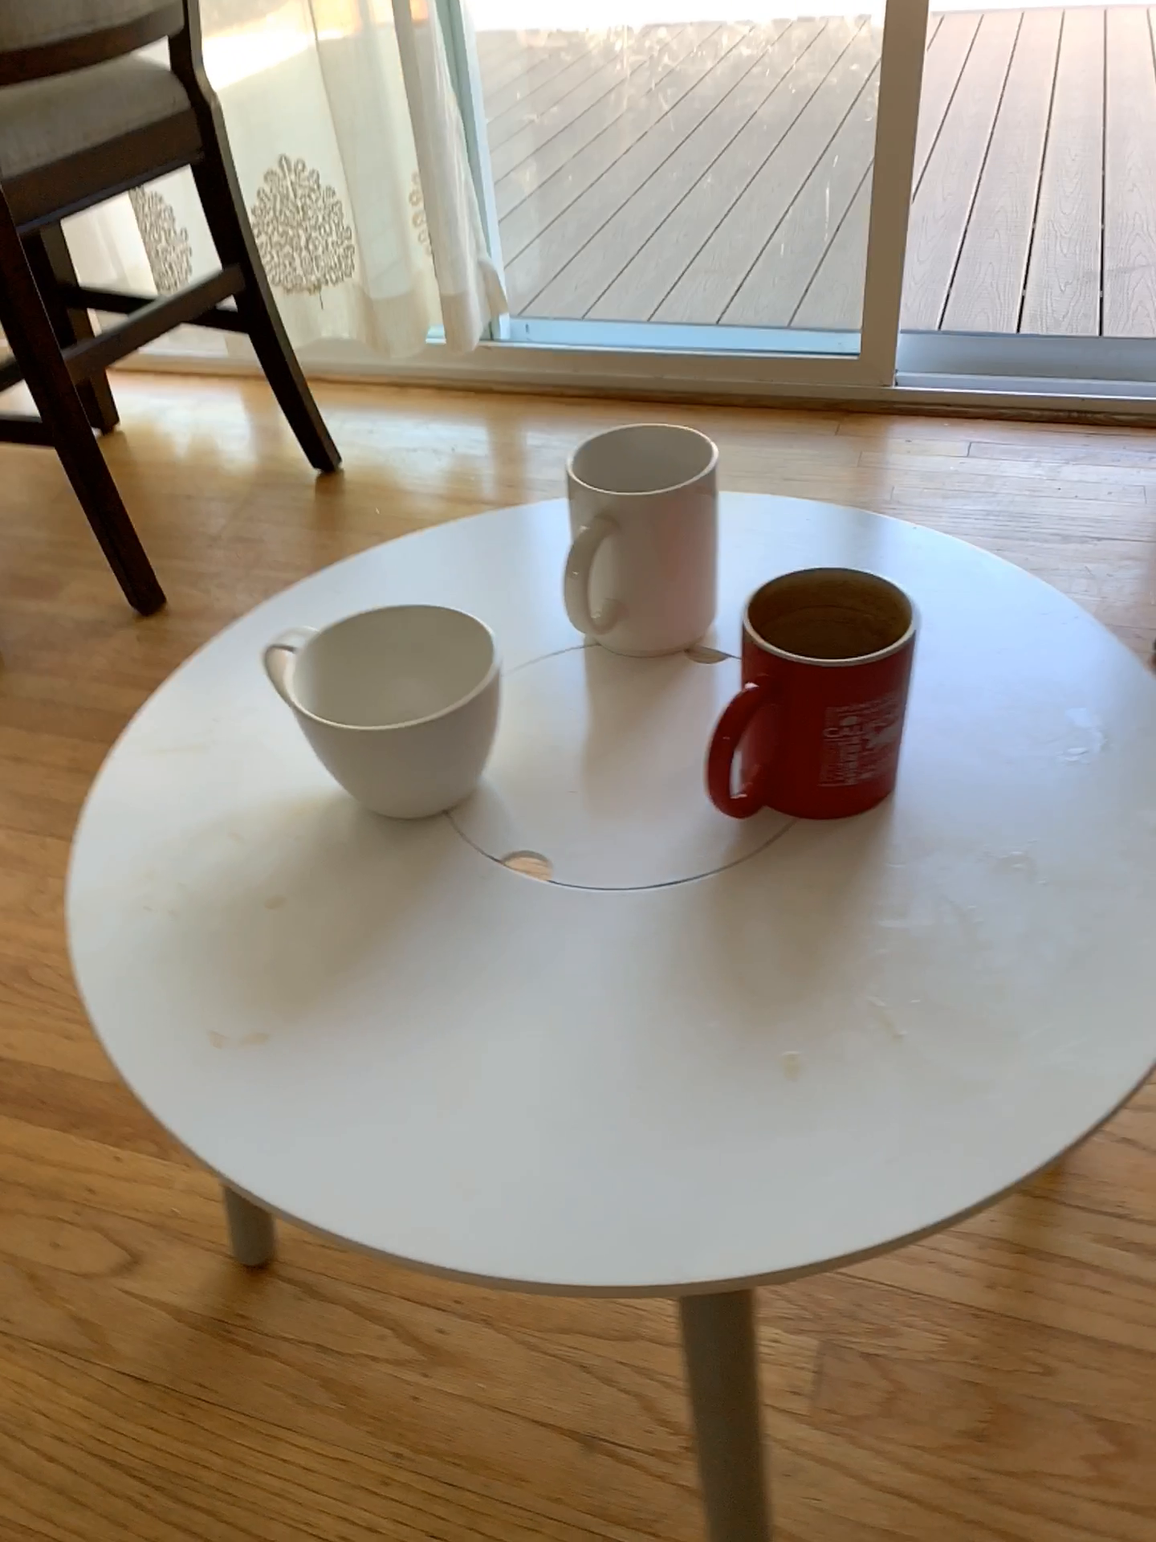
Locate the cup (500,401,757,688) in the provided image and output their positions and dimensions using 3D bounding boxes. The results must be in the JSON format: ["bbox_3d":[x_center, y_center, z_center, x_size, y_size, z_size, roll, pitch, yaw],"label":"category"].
[{"bbox_3d":[0.033,-0.132,0.674,0.090,0.099,0.120,21,47,28],"label":"cup"}]

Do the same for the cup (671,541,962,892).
[{"bbox_3d":[0.117,-0.031,0.583,0.080,0.099,0.130,24,49,30],"label":"cup"}]

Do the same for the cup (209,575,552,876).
[{"bbox_3d":[-0.102,-0.029,0.621,0.131,0.070,0.110,28,51,33],"label":"cup"}]
